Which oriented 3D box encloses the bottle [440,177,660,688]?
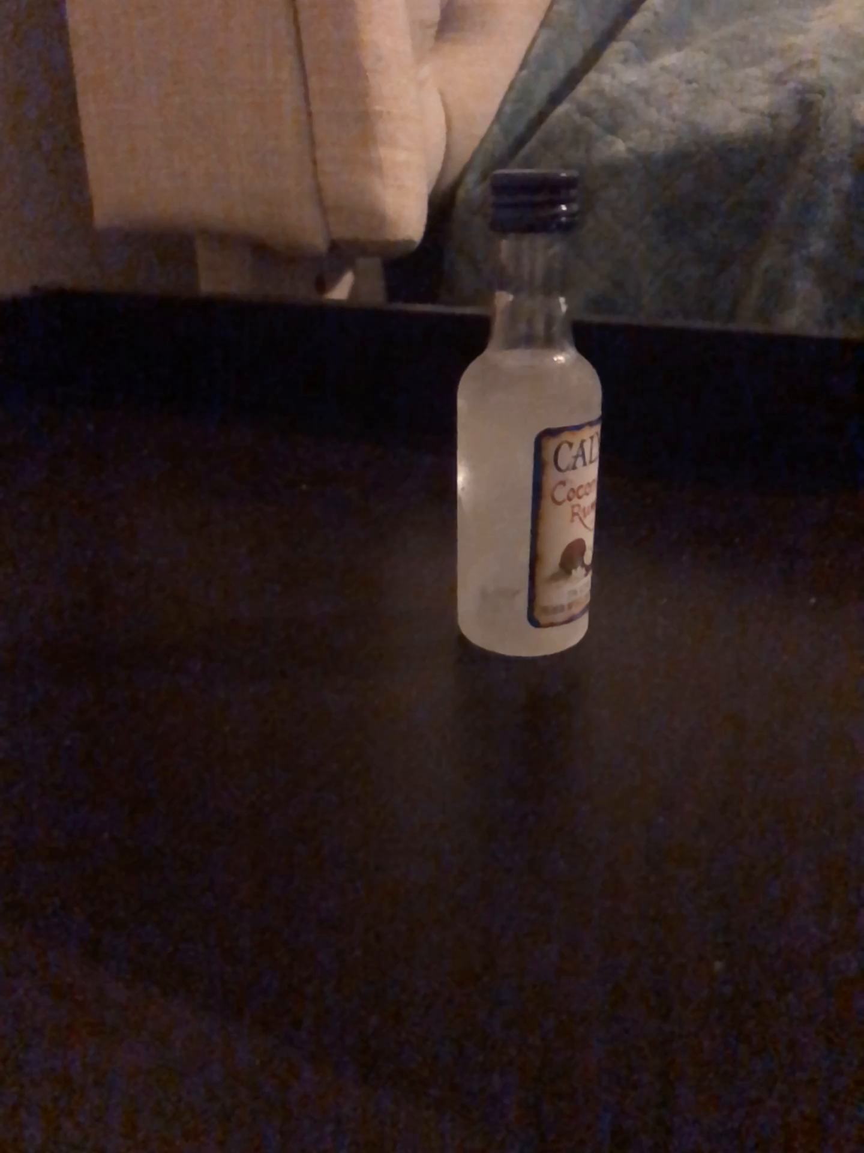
[{"bbox_3d":[0.026,-0.033,0.215,0.036,0.104,0.040,8,24,19],"label":"bottle"}]
